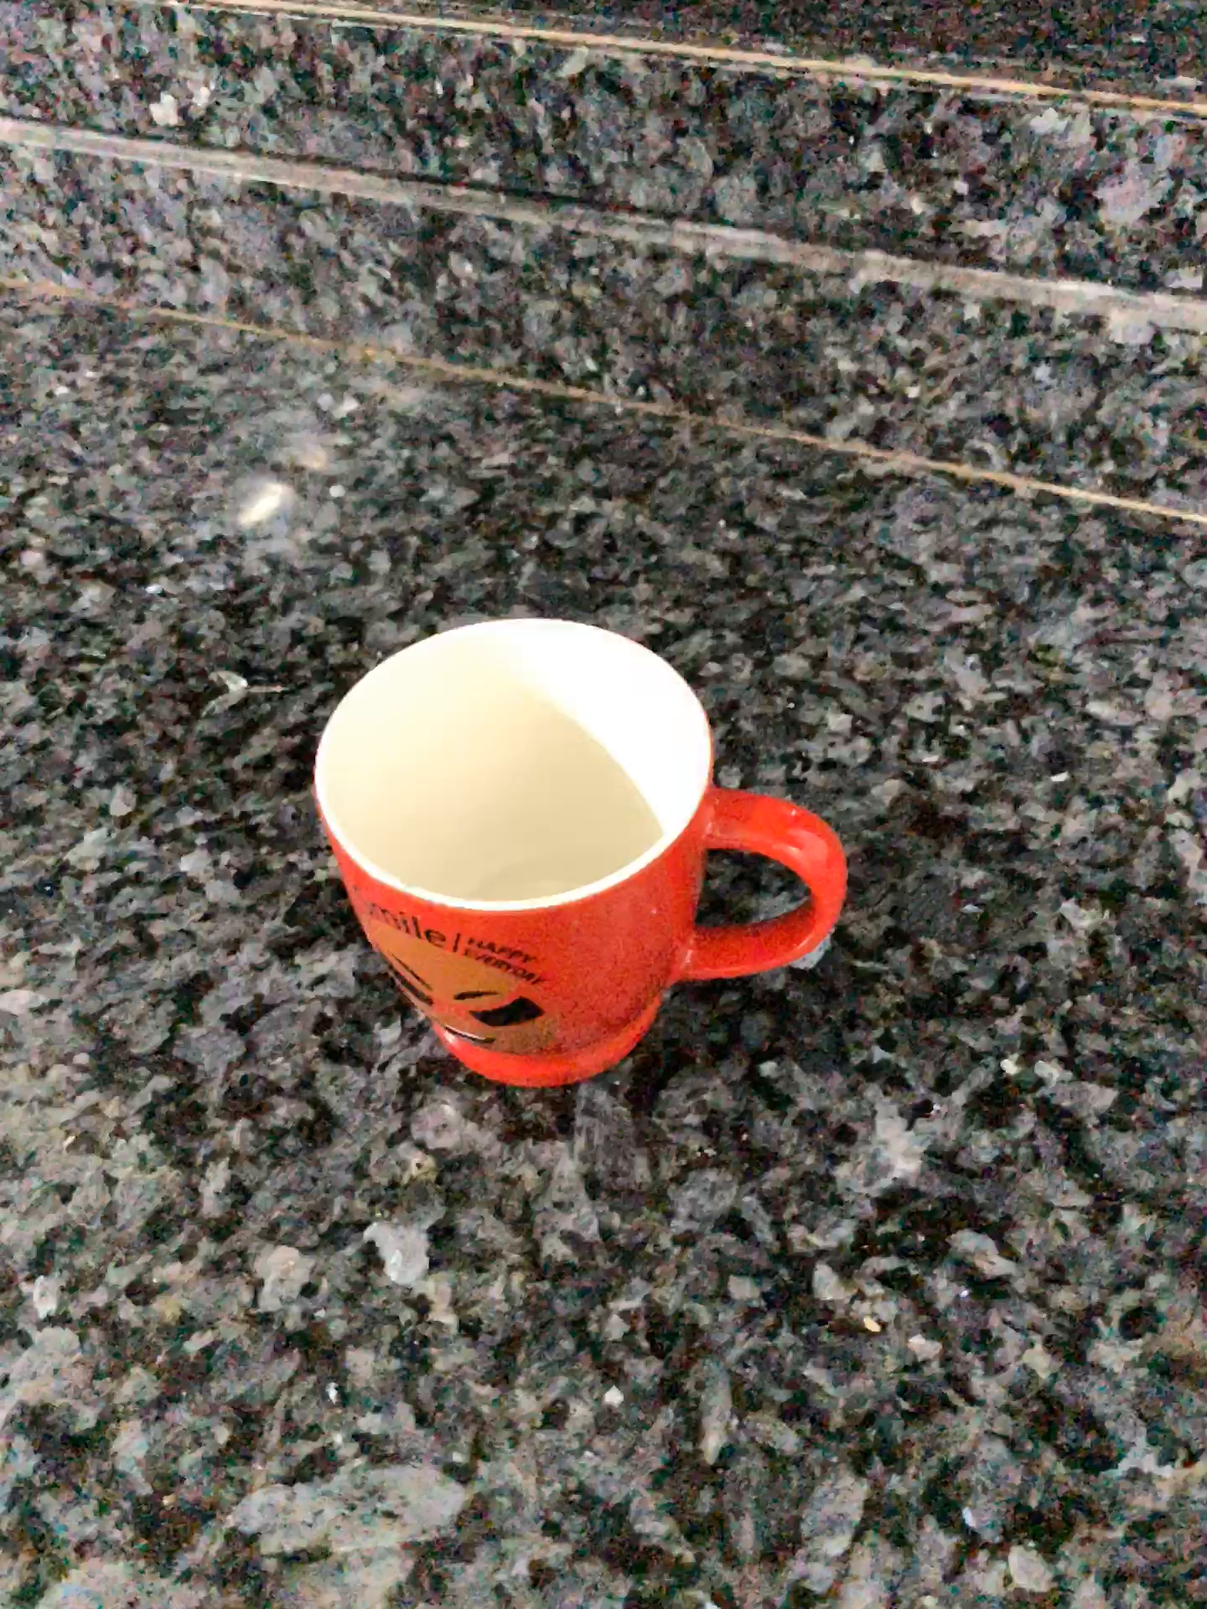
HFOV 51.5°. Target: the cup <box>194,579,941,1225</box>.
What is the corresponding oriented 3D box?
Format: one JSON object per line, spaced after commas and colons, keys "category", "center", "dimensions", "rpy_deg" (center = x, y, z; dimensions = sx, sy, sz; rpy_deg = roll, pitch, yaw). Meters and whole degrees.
{"category": "cup", "center": [-0.003, 0.016, 0.240], "dimensions": [0.110, 0.069, 0.070], "rpy_deg": [14, 51, 14]}
